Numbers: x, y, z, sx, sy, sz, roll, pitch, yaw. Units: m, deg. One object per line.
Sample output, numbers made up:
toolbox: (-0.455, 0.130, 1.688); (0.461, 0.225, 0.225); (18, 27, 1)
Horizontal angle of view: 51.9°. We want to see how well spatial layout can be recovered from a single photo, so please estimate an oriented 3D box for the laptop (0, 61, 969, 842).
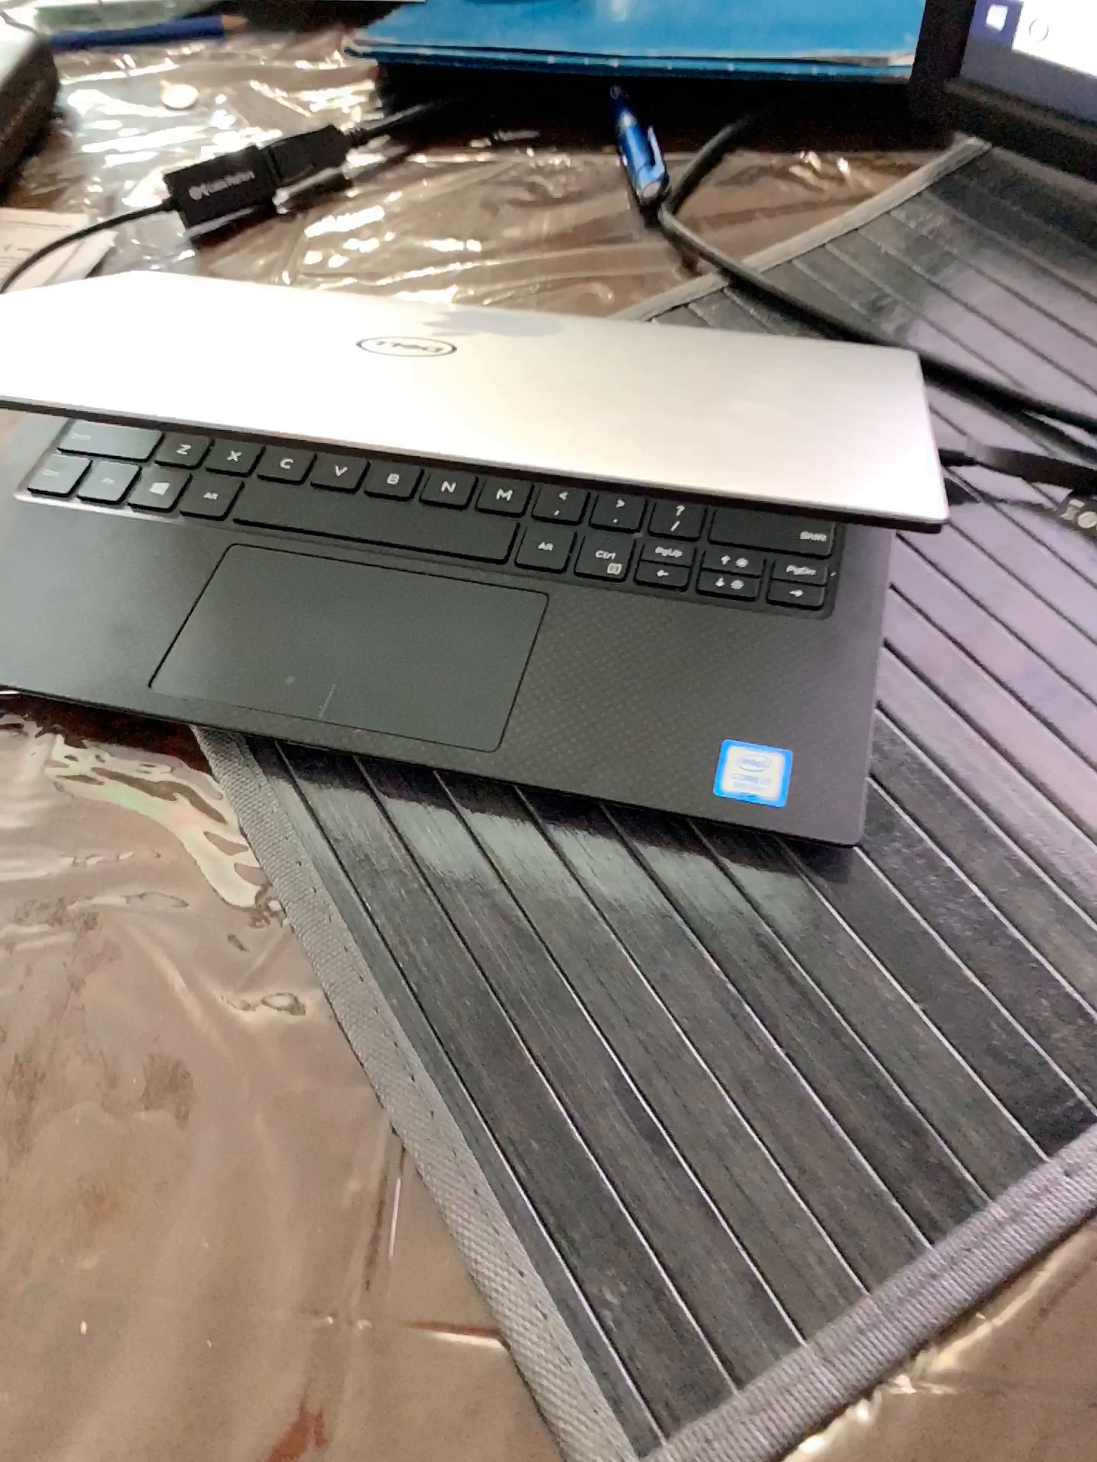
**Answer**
laptop: (-0.044, -0.095, 0.322); (0.290, 0.081, 0.183); (10, 56, 10)
